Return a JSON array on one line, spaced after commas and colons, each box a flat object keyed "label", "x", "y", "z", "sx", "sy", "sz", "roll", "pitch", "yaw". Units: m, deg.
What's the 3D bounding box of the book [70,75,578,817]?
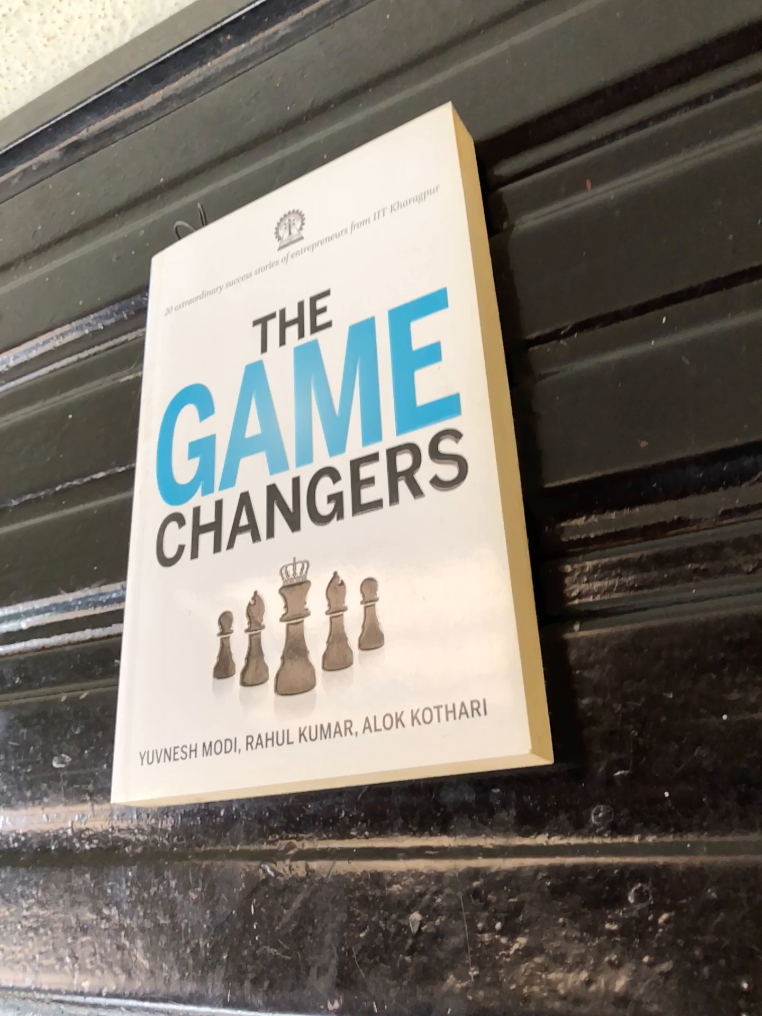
[{"label": "book", "x": -0.024, "y": -0.016, "z": 0.247, "sx": 0.130, "sy": 0.030, "sz": 0.190, "roll": -15, "pitch": 64, "yaw": 26}]
